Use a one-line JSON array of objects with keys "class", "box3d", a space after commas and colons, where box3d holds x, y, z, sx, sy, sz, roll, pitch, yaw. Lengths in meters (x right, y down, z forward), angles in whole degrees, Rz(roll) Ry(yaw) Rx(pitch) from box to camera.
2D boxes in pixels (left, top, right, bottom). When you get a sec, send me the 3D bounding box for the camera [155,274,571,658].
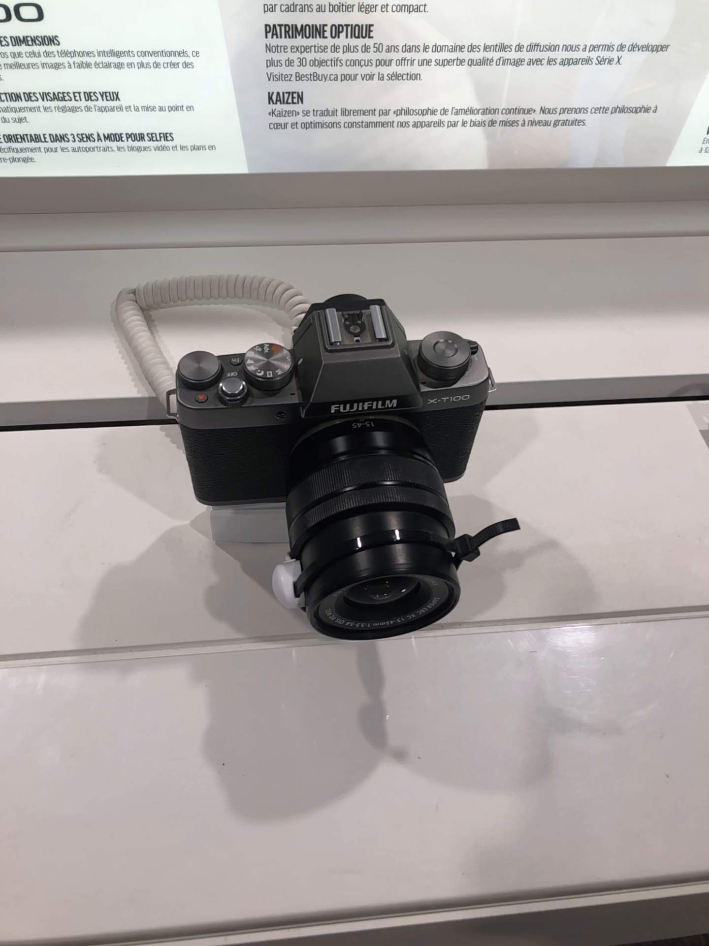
[{"class": "camera", "box3d": [-0.002, -0.003, 0.316, 0.130, 0.099, 0.108, -4, 51, -5]}]
